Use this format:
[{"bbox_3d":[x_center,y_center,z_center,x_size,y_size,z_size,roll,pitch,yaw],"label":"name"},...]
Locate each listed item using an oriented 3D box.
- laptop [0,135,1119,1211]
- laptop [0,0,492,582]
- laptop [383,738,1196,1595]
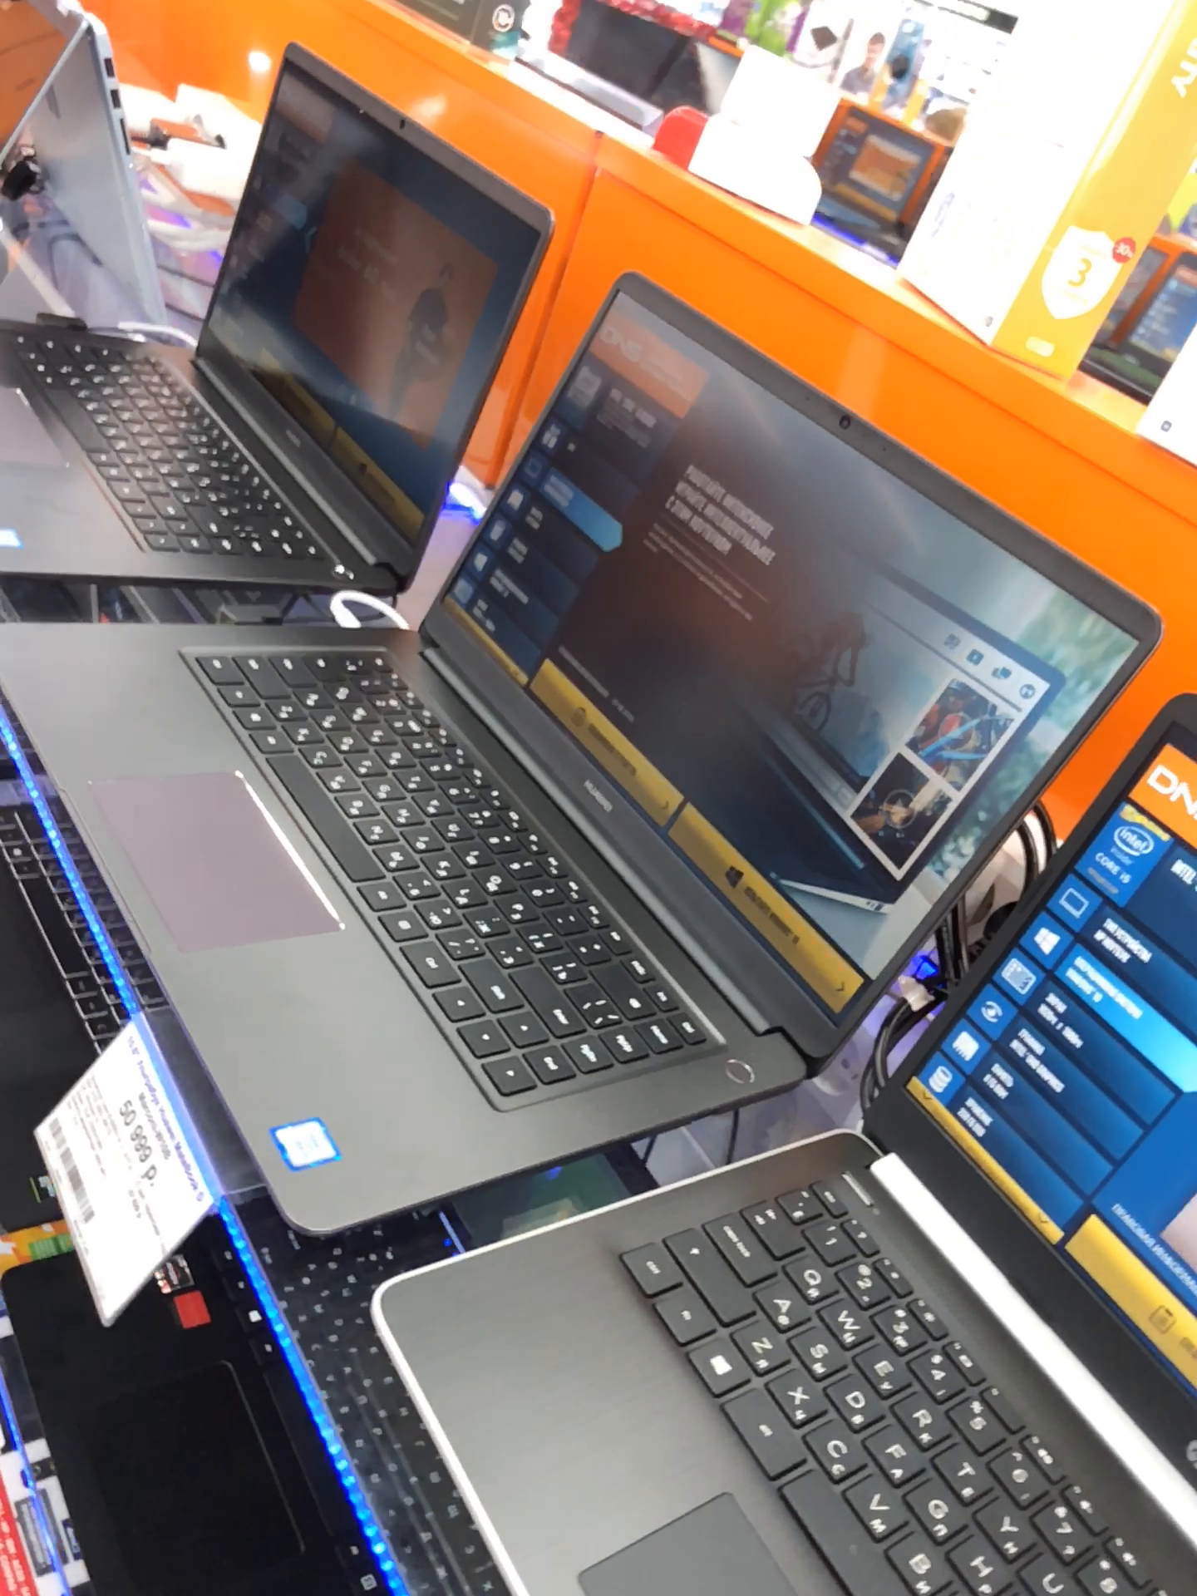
[{"bbox_3d":[-0.046,-0.074,0.543,0.288,0.212,0.339,-6,41,-40],"label":"laptop"},{"bbox_3d":[-0.267,-0.317,0.775,0.242,0.230,0.356,-5,40,-41],"label":"laptop"},{"bbox_3d":[0.138,0.134,0.323,0.243,0.195,0.270,-3,35,-36],"label":"laptop"}]
